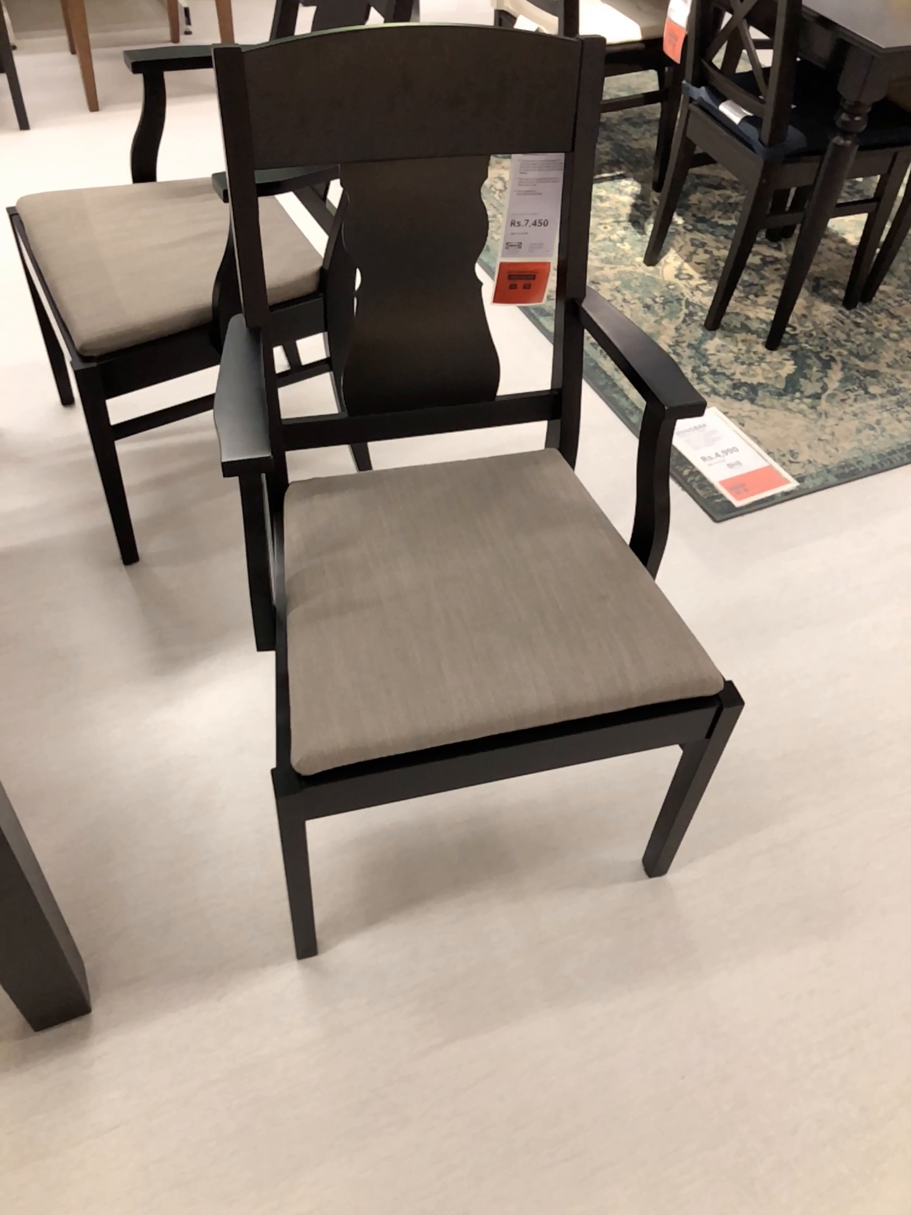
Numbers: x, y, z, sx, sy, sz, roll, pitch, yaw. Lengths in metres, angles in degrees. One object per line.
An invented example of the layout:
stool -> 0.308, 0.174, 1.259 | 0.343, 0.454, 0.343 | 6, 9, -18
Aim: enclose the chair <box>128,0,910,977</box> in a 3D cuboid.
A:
chair -> 0.001, -0.088, 1.232 | 0.570, 0.994, 0.573 | -10, 50, -13
